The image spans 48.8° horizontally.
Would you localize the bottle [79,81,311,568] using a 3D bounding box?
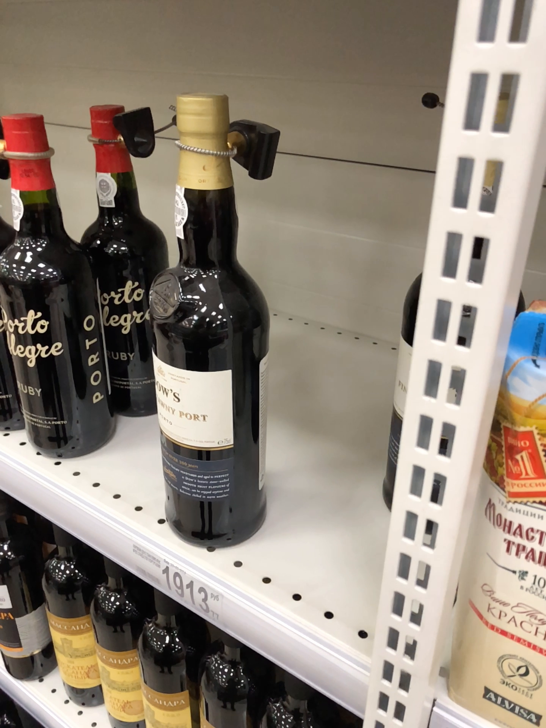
[{"bbox_3d":[-0.044,-0.022,0.400,0.090,0.296,0.090,1,27,0],"label":"bottle"}]
